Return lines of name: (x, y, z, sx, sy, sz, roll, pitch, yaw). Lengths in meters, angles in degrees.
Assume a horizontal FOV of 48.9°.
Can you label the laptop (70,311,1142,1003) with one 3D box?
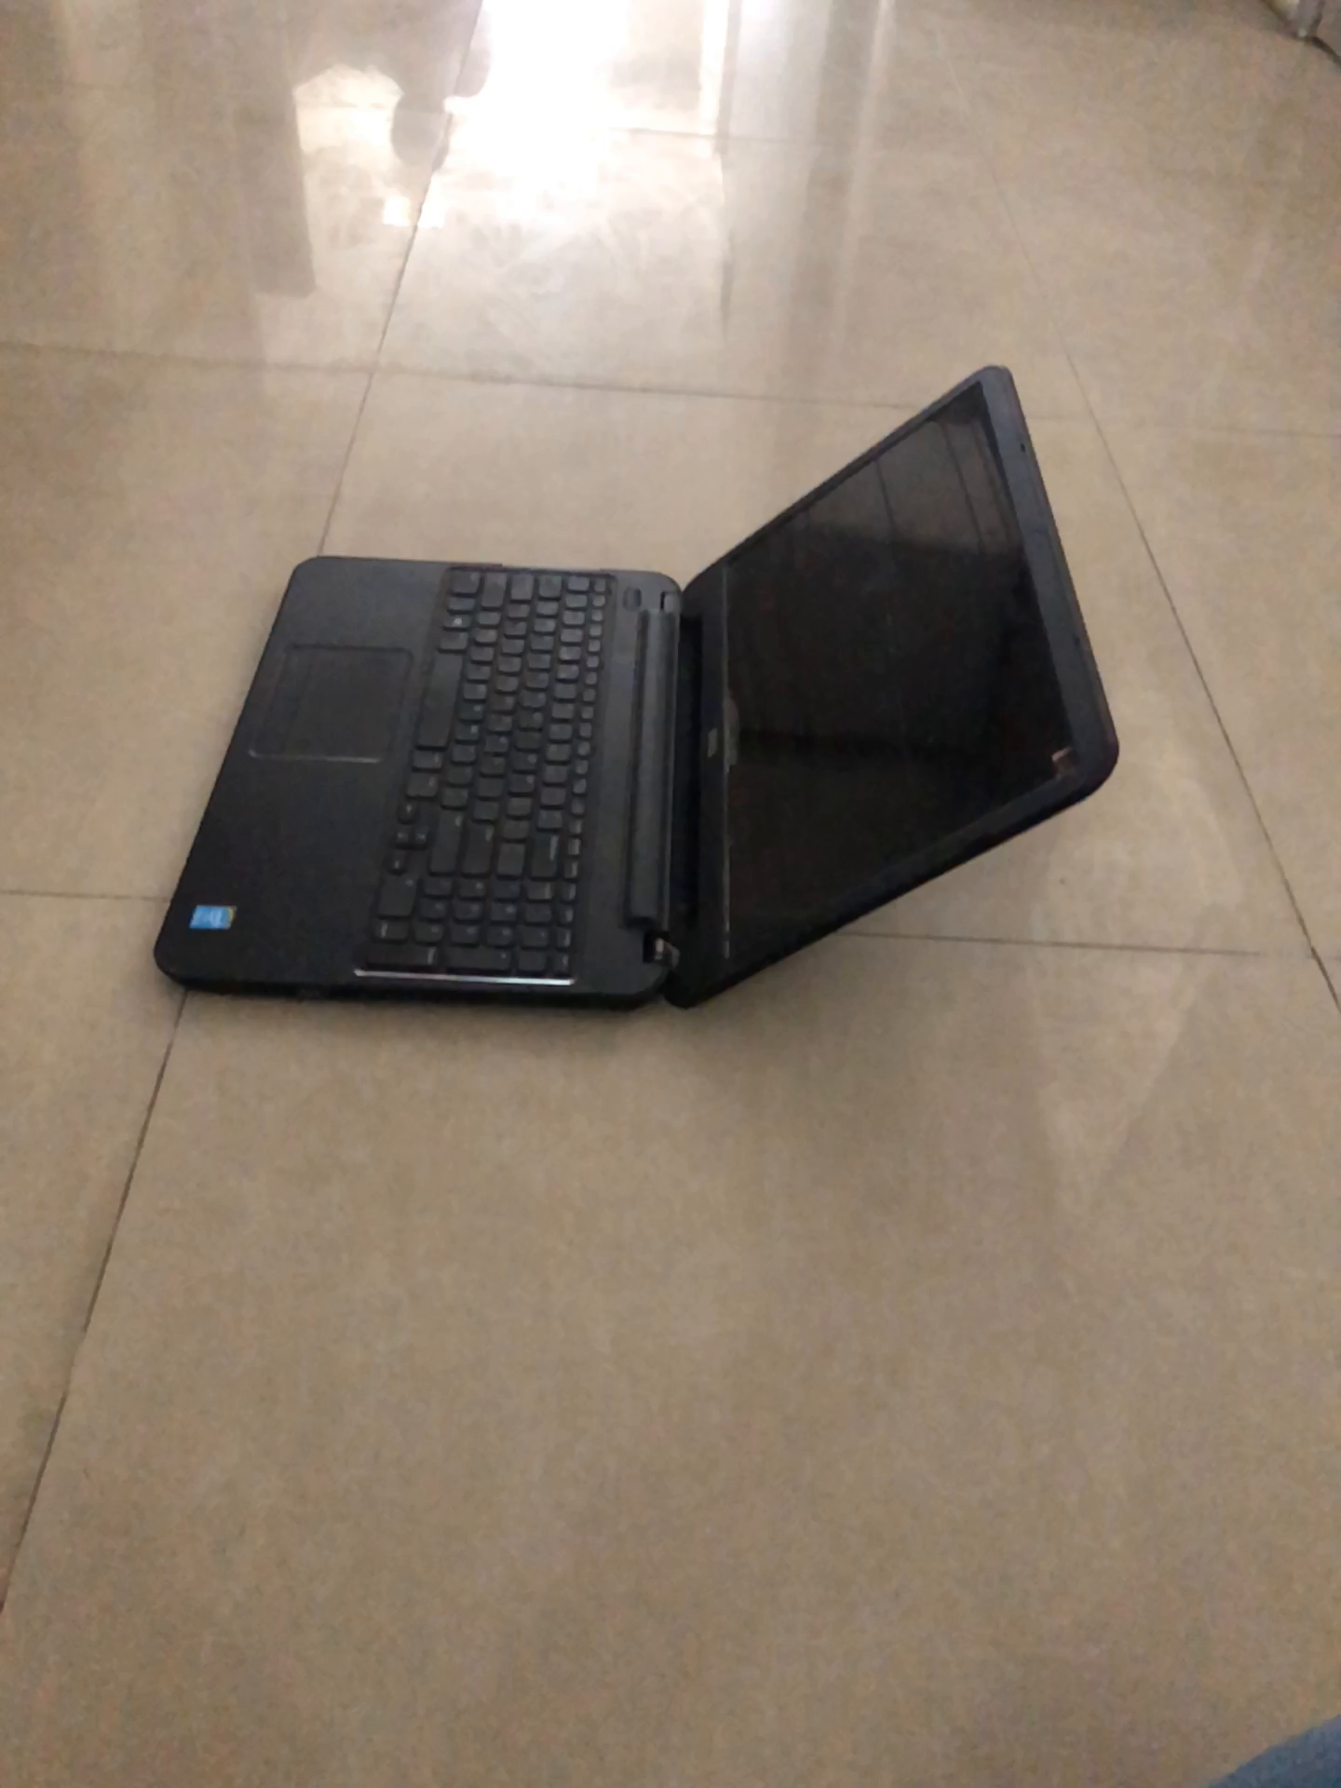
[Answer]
laptop: (-0.024, -0.139, 0.772, 0.427, 0.163, 0.360, 2, 45, 0)
